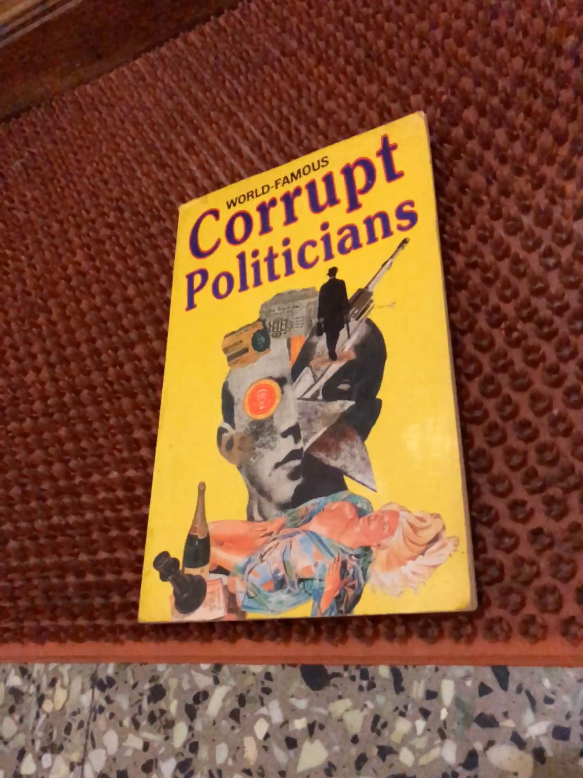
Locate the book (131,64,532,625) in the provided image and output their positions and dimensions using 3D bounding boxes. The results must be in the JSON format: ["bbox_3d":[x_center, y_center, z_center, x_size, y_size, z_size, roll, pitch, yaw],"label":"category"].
[{"bbox_3d":[0.007,-0.023,0.283,0.150,0.020,0.230,-12,63,25],"label":"book"}]
